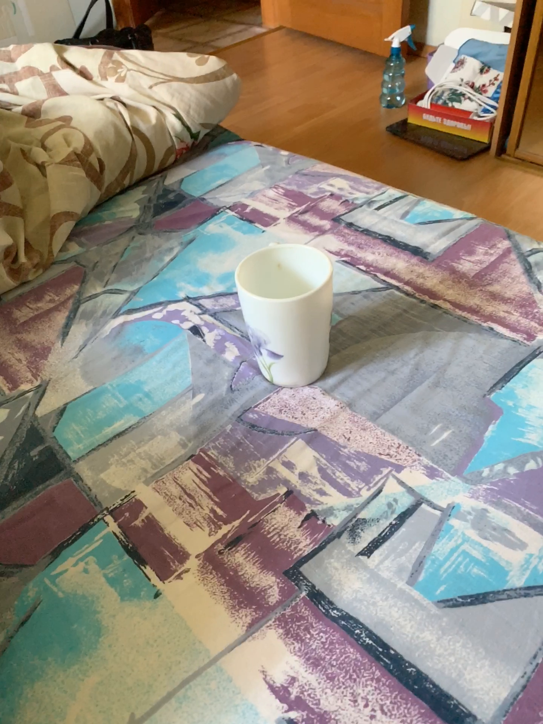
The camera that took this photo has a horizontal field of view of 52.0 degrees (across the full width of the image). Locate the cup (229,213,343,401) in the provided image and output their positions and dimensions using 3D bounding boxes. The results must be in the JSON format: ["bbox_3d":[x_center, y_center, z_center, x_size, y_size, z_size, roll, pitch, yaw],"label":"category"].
[{"bbox_3d":[0.009,-0.048,0.469,0.080,0.099,0.121,-4,43,0],"label":"cup"}]
